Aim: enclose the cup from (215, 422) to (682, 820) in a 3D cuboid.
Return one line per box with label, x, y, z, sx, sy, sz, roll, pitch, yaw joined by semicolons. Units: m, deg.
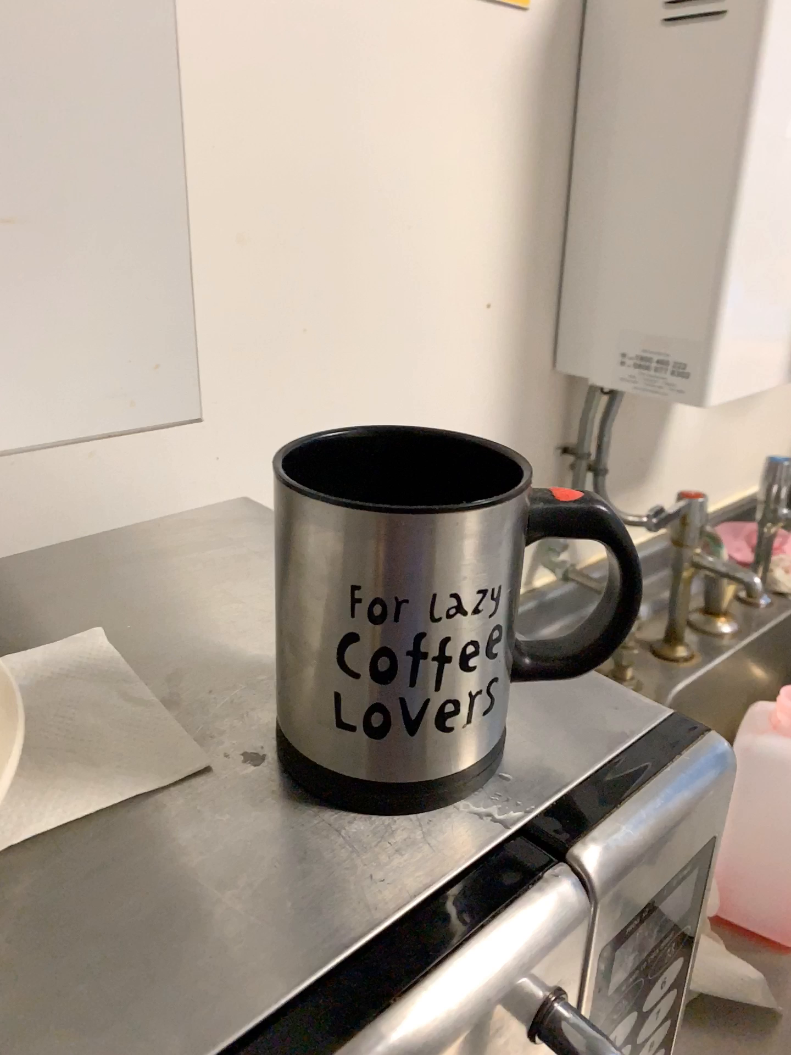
cup;0.013;0.028;0.295;0.133;0.108;0.096;0;22;-2
